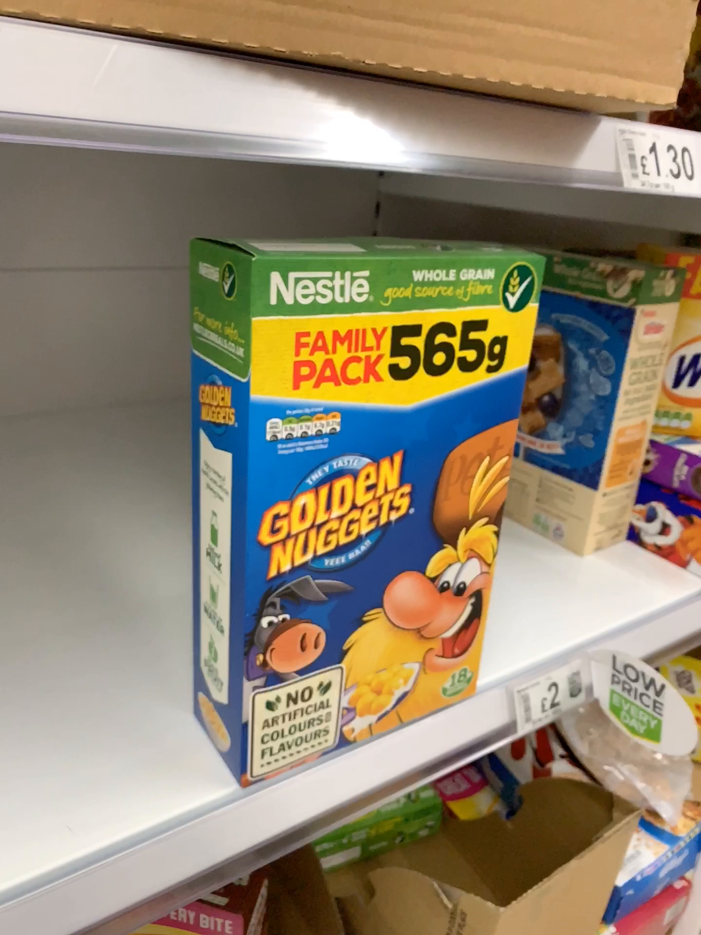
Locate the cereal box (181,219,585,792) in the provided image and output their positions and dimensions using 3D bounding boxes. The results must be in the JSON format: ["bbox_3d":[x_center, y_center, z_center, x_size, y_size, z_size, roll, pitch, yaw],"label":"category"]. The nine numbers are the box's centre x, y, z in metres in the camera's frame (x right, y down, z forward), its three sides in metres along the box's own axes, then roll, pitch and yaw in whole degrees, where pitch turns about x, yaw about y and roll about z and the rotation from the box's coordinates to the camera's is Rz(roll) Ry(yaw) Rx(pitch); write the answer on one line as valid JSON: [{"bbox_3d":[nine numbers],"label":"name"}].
[{"bbox_3d":[0.011,0.014,0.459,0.211,0.308,0.090,-9,26,-32],"label":"cereal box"}]
